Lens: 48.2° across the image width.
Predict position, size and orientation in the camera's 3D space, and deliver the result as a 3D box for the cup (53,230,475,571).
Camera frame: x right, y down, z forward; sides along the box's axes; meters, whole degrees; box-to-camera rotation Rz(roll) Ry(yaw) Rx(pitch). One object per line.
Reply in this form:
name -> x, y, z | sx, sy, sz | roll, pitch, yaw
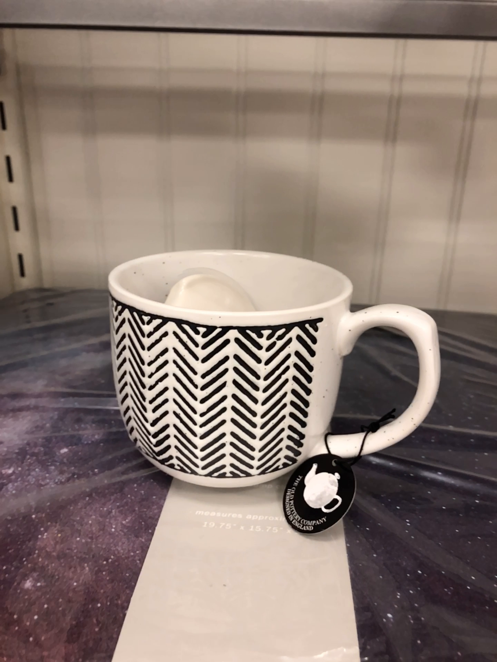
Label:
cup -> 0.009, 0.013, 0.231 | 0.140, 0.079, 0.091 | 11, 23, 23
